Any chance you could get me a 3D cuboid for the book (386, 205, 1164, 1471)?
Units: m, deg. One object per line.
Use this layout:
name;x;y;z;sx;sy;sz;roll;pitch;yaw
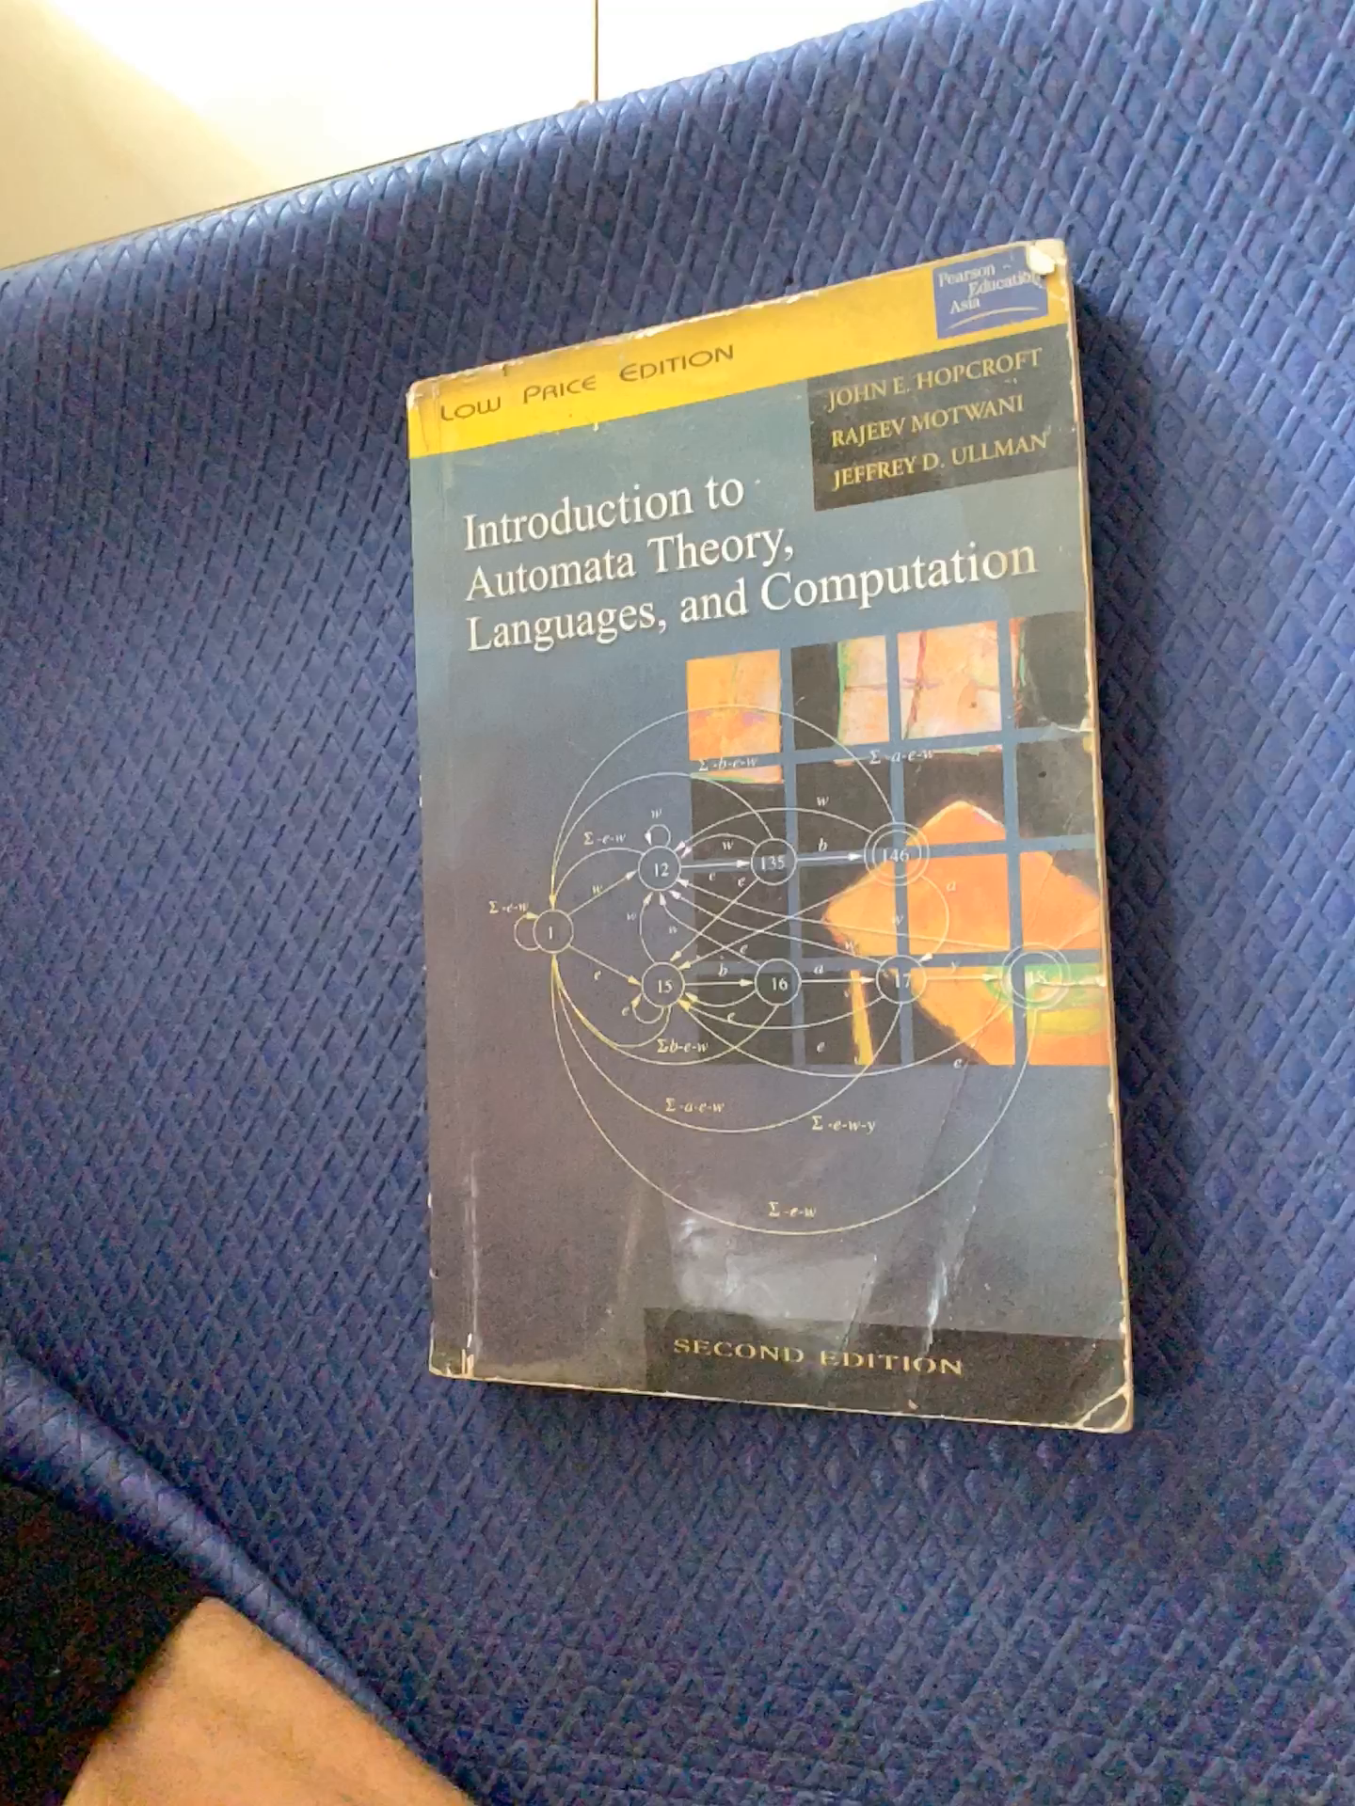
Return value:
book;0.017;-0.010;0.304;0.150;0.050;0.230;-4;84;23
